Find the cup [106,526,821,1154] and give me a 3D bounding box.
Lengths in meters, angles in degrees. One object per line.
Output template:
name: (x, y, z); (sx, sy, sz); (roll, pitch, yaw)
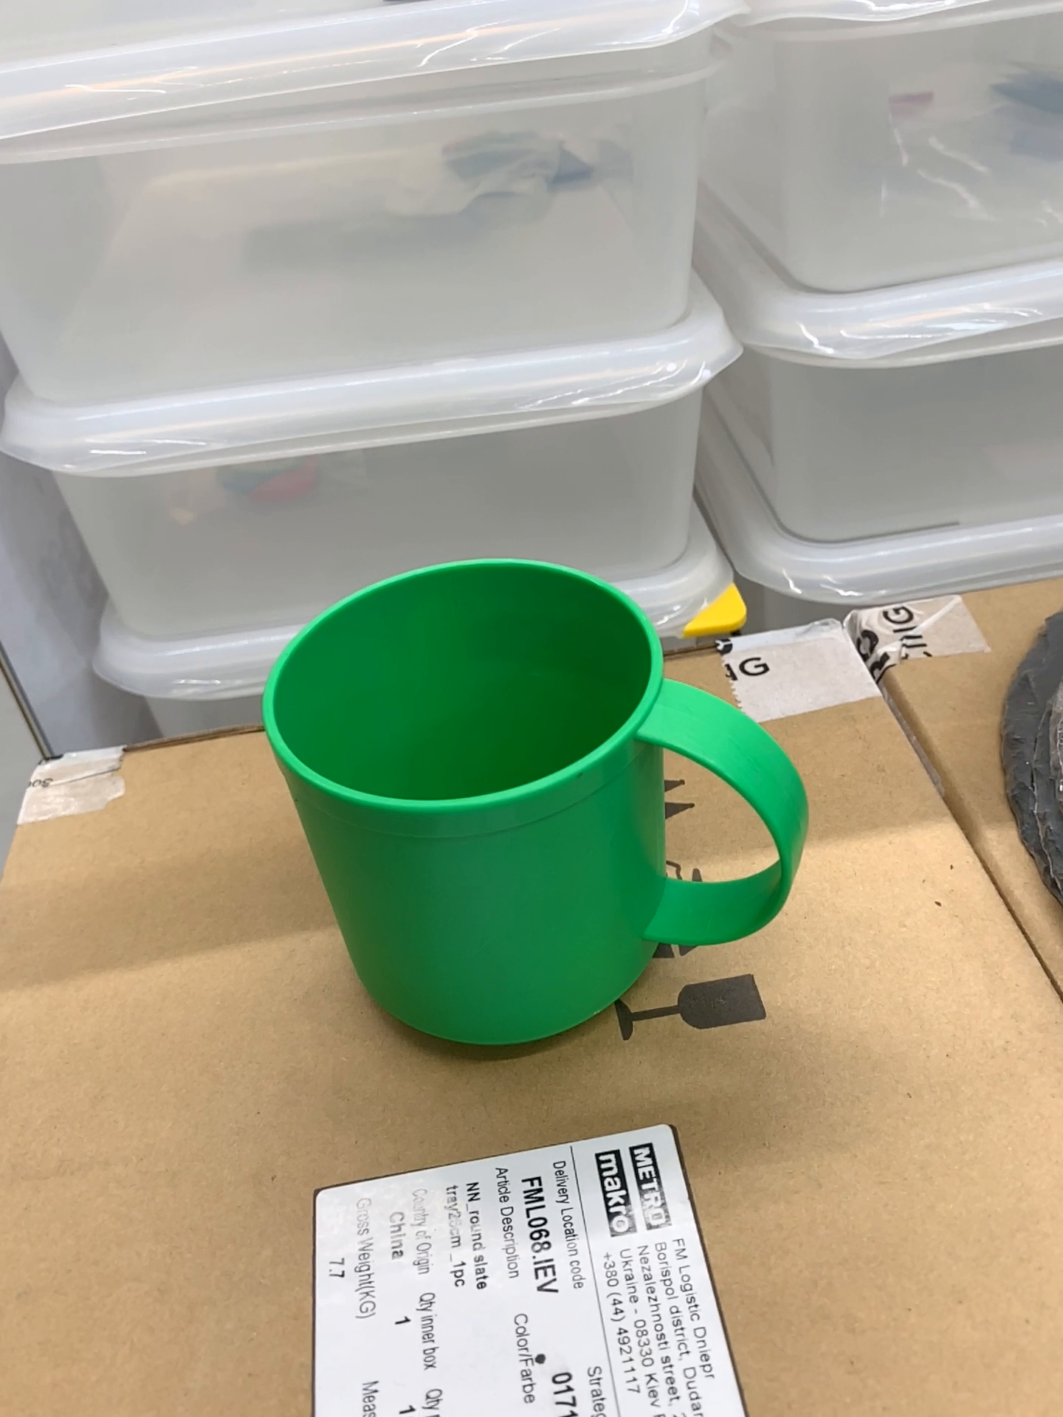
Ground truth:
cup: (-0.006, 0.019, 0.216); (0.105, 0.069, 0.076); (10, 42, 22)
